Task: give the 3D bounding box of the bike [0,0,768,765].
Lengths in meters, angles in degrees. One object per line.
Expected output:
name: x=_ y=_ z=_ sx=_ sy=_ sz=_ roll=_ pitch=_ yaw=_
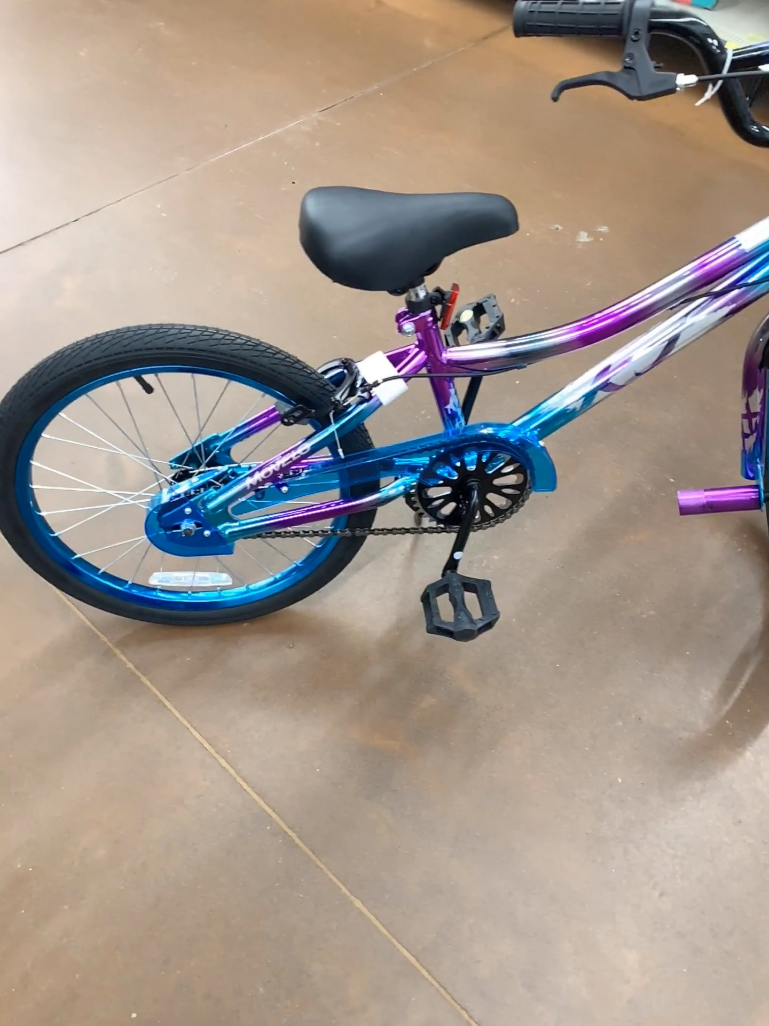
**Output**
bike: x=0.085 y=-0.308 z=0.951 sx=1.120 sy=0.877 sz=0.622 roll=-9 pitch=54 yaw=-12
